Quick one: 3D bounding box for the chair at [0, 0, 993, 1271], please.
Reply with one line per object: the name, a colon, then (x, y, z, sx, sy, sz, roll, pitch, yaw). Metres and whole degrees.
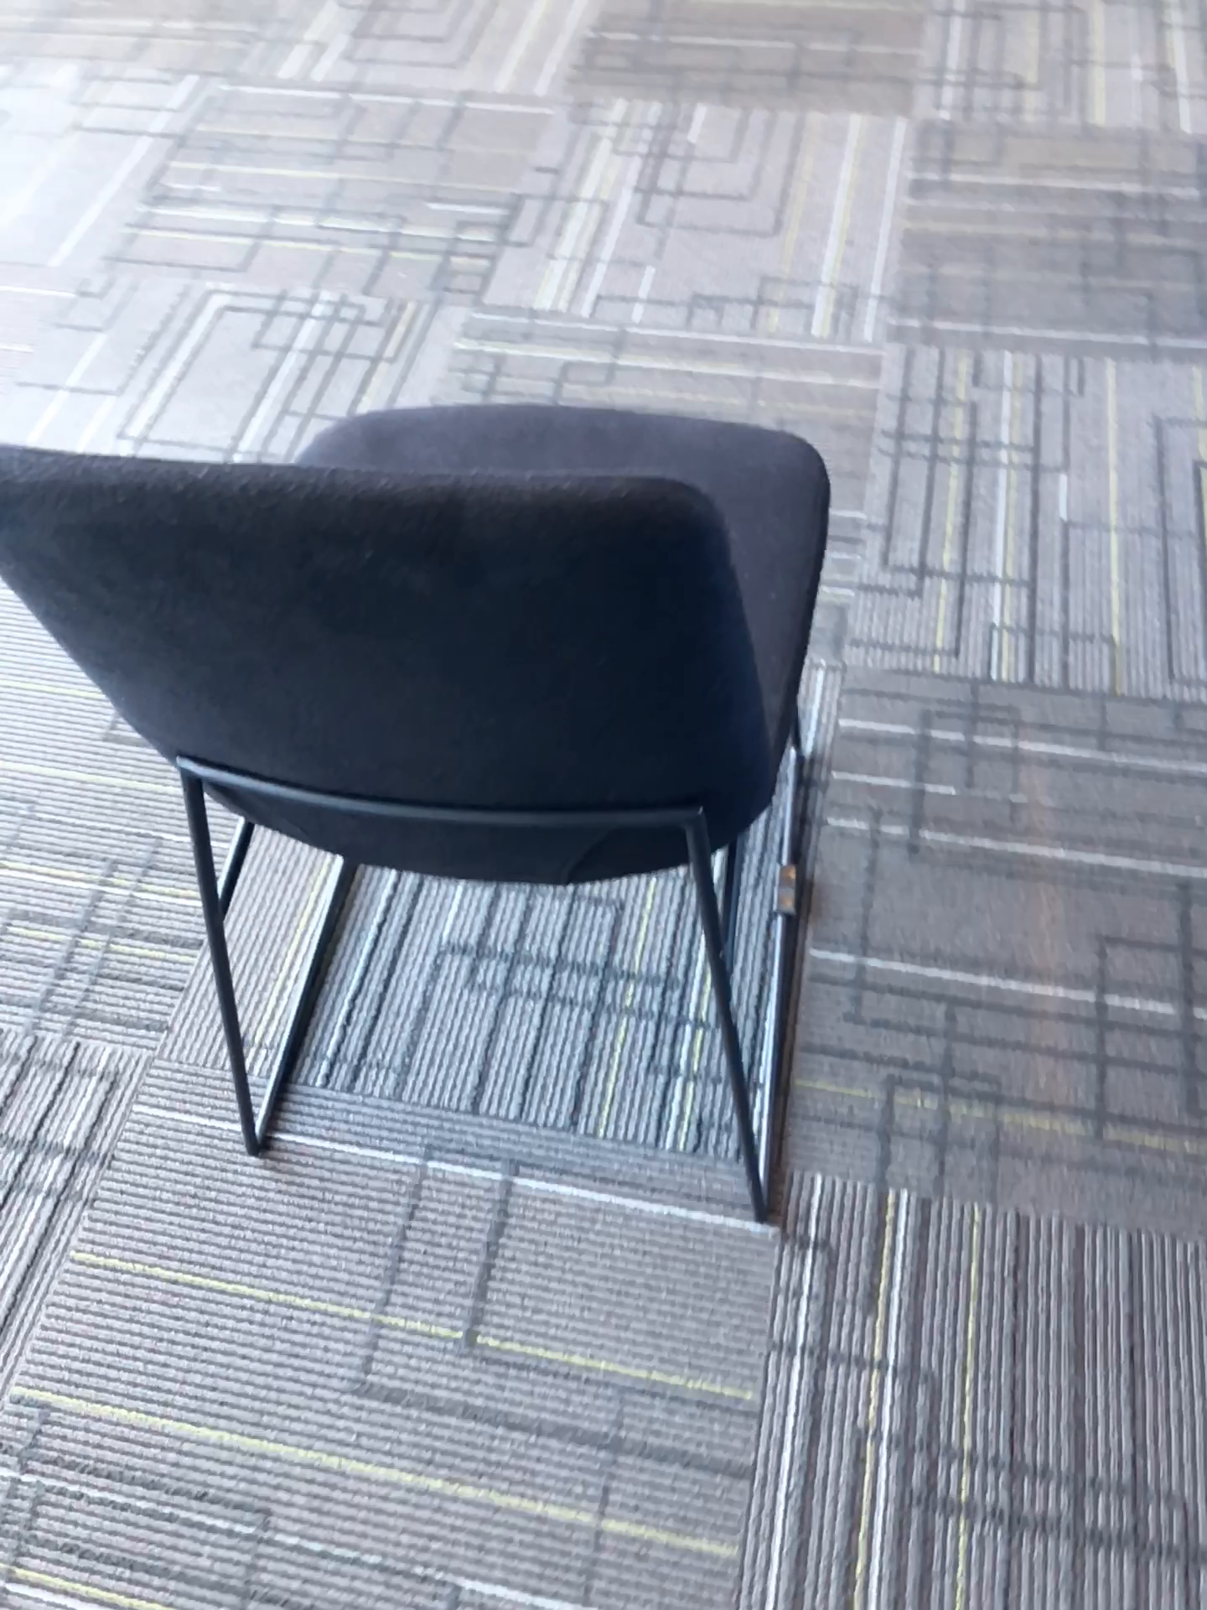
chair: (-0.094, -0.115, 0.915, 0.560, 0.767, 0.552, 6, 55, 8)
